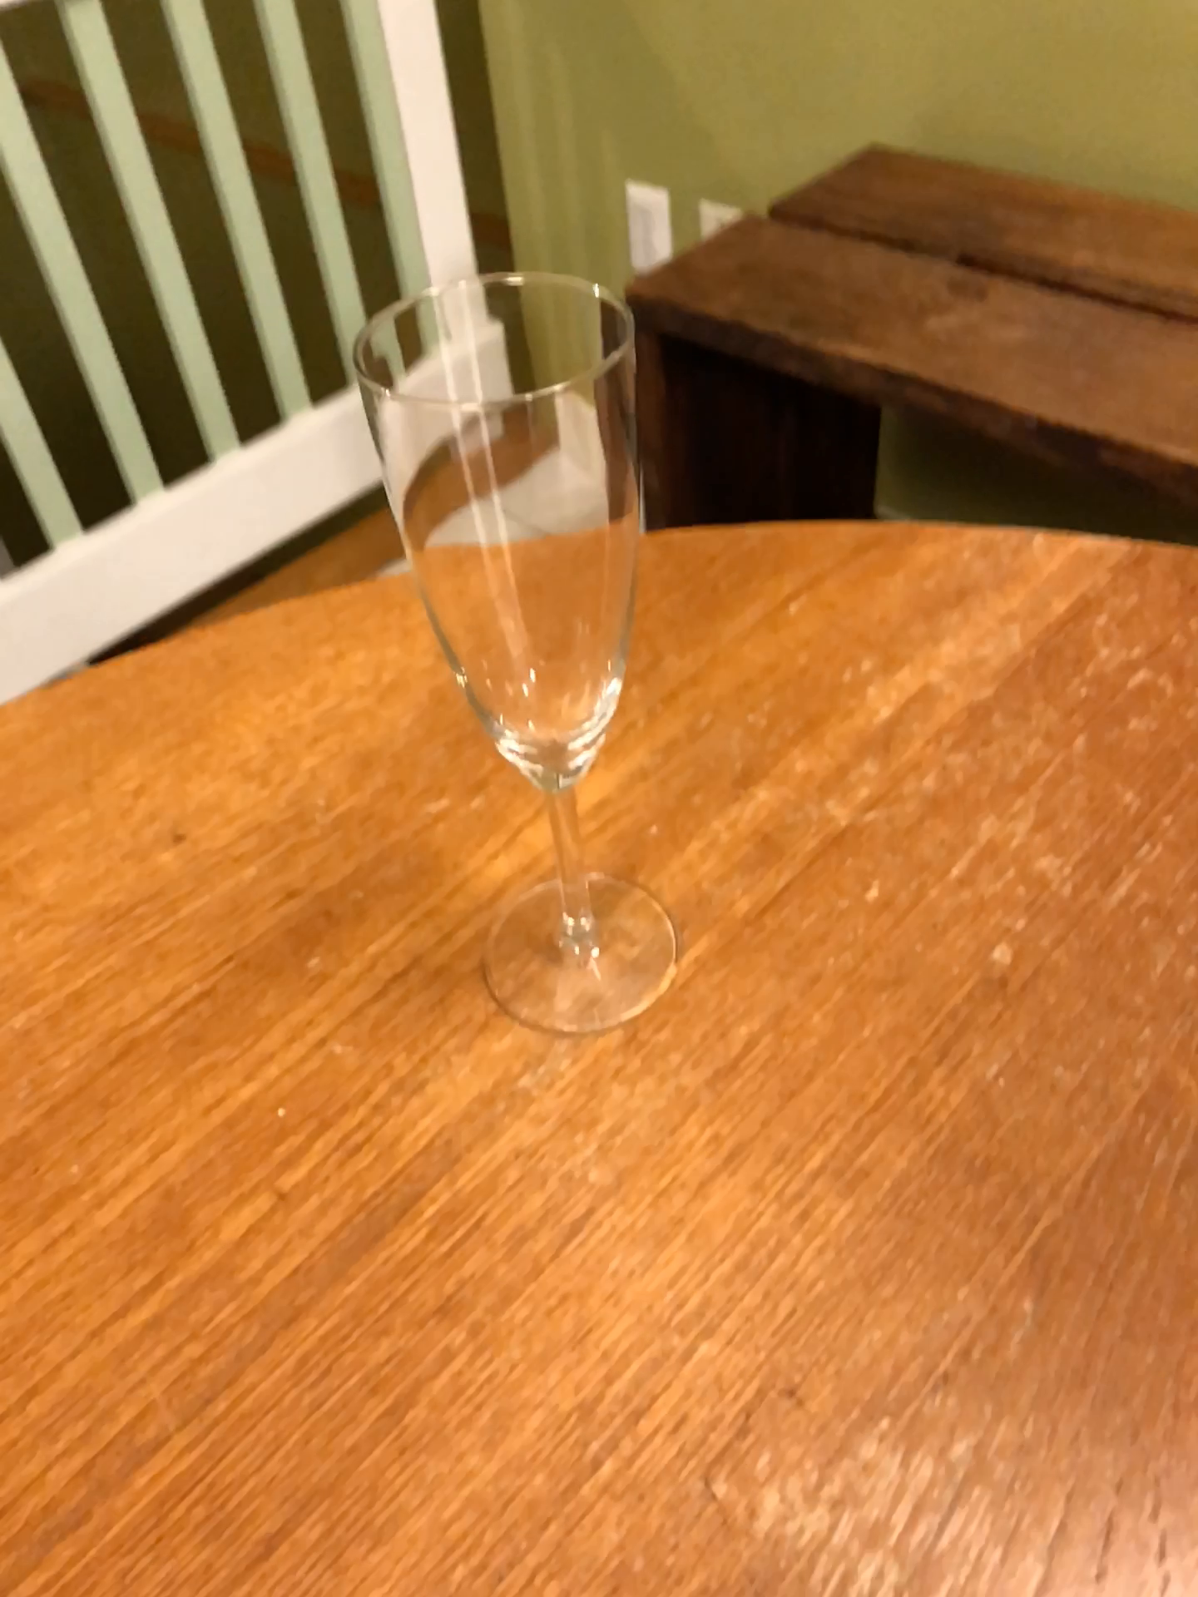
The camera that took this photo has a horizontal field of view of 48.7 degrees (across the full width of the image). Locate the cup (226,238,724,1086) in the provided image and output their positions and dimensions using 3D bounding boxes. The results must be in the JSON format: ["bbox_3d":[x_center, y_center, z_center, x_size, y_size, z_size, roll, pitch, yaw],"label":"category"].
[{"bbox_3d":[-0.020,-0.025,0.360,0.070,0.211,0.077,31,56,32],"label":"cup"}]
